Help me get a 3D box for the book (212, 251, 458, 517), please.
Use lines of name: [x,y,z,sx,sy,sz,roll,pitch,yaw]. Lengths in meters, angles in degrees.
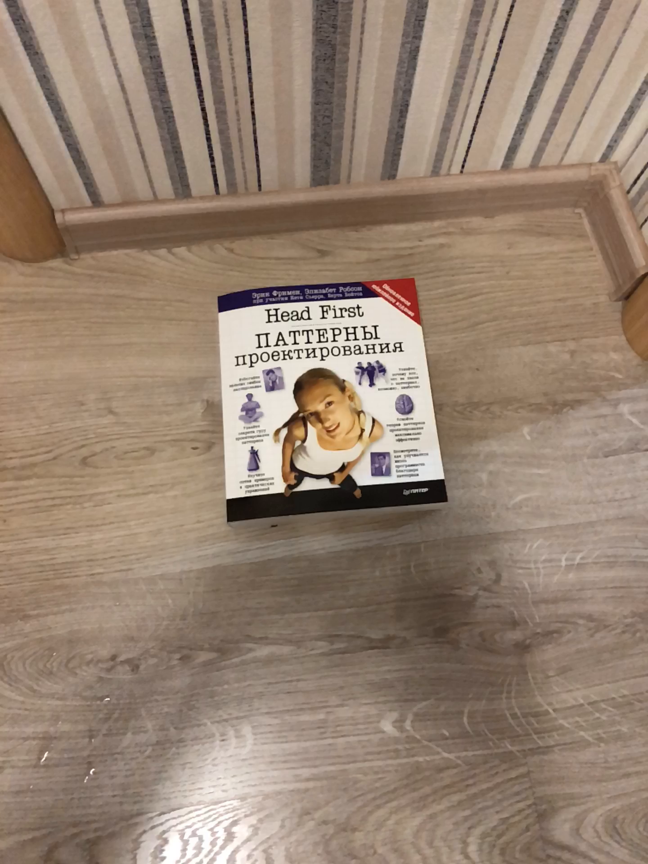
book: [0.004,-0.050,0.685,0.206,0.049,0.241,-5,72,-4]
